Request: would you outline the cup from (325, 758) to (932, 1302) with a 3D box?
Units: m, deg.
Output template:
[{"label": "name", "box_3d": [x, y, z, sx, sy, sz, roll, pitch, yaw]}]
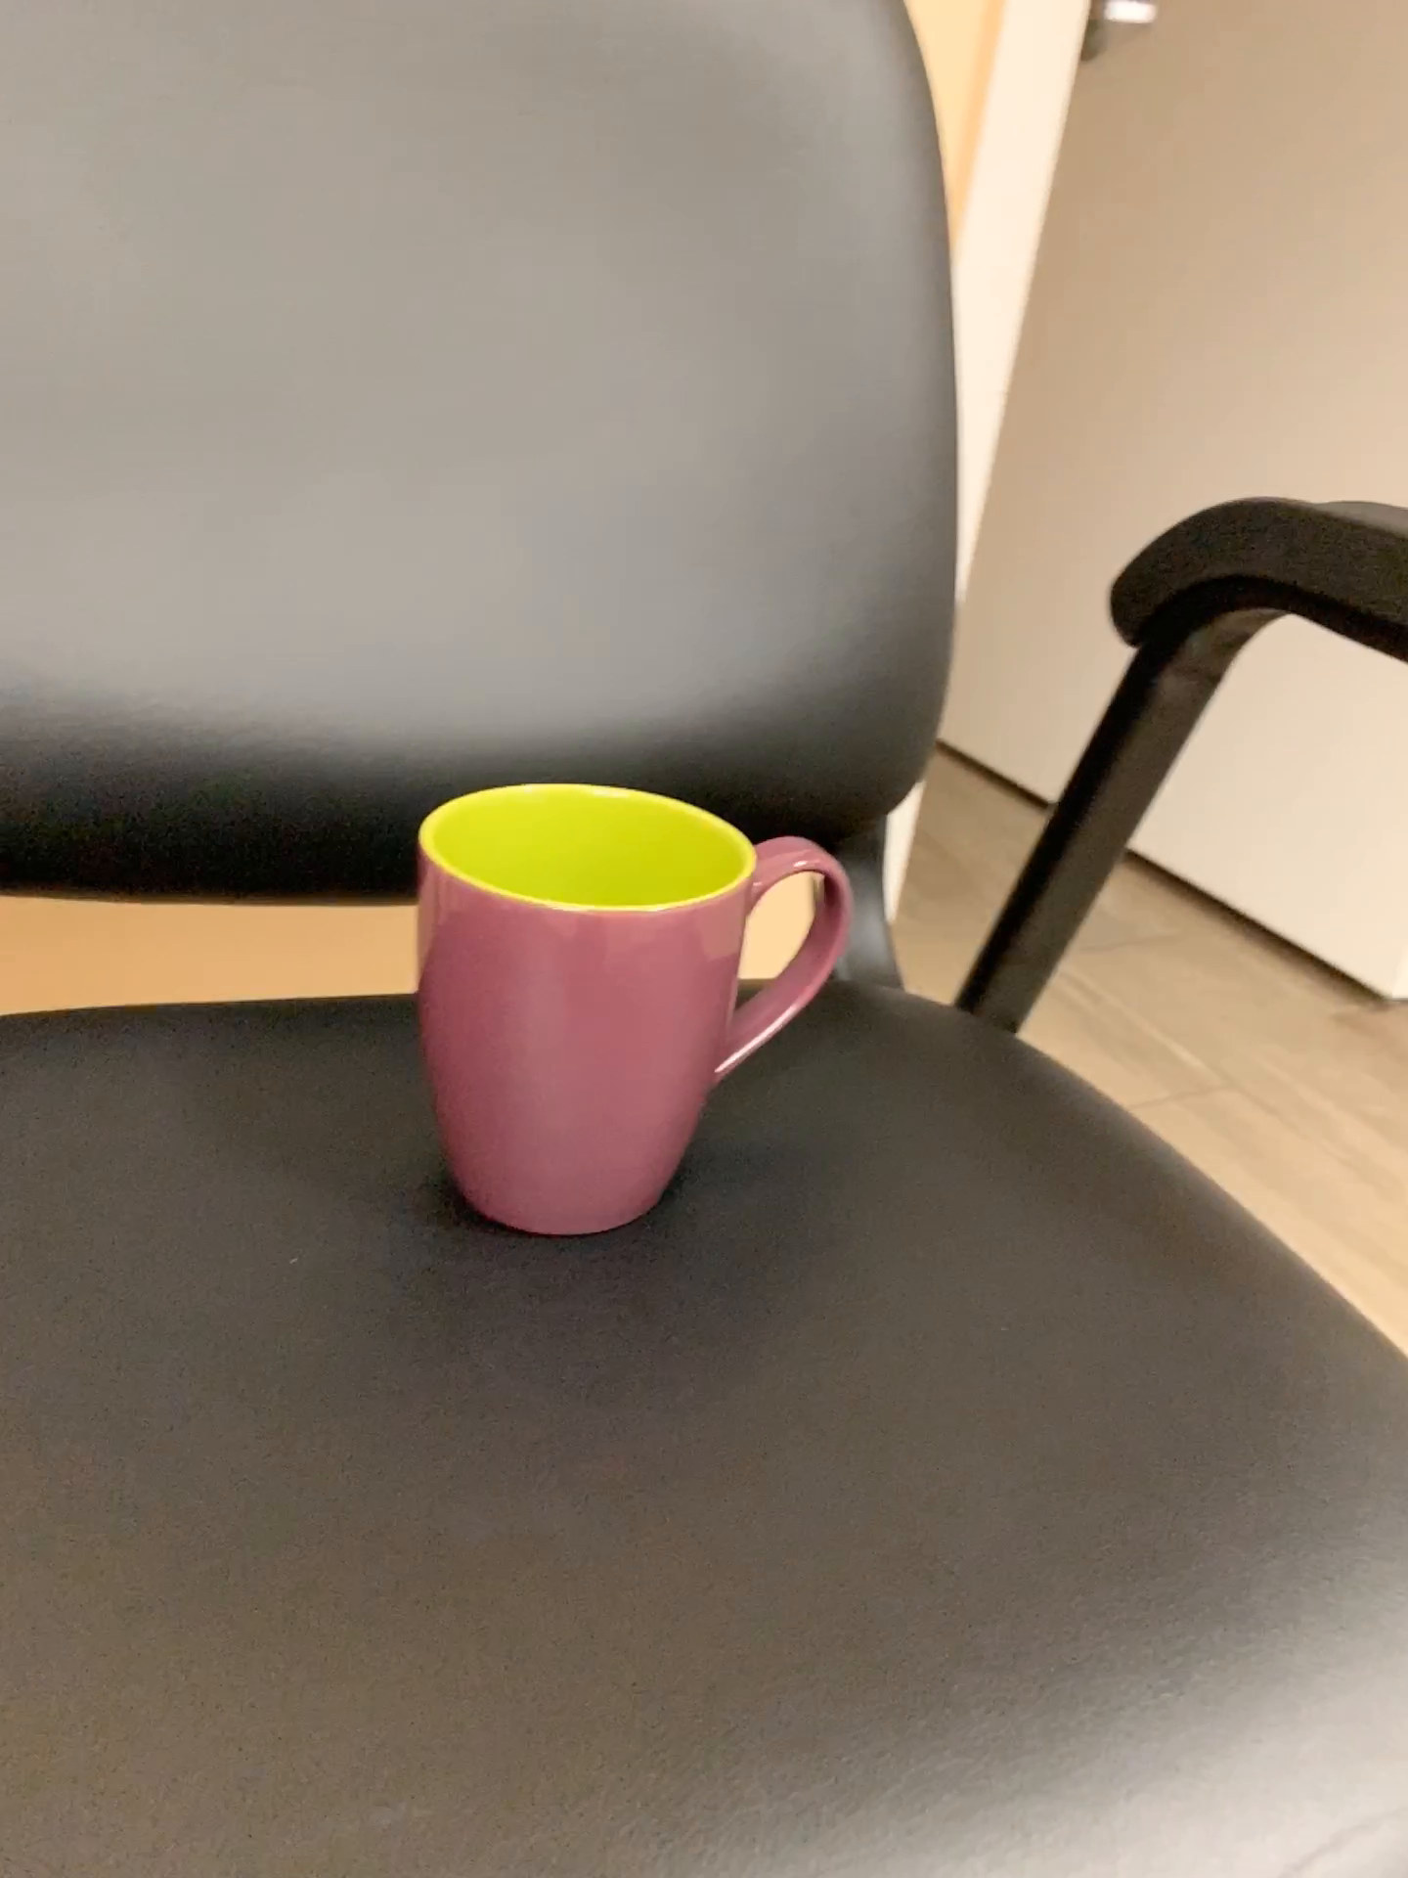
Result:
[{"label": "cup", "box_3d": [-0.026, 0.018, 0.428, 0.144, 0.109, 0.090, -9, 31, -31]}]
